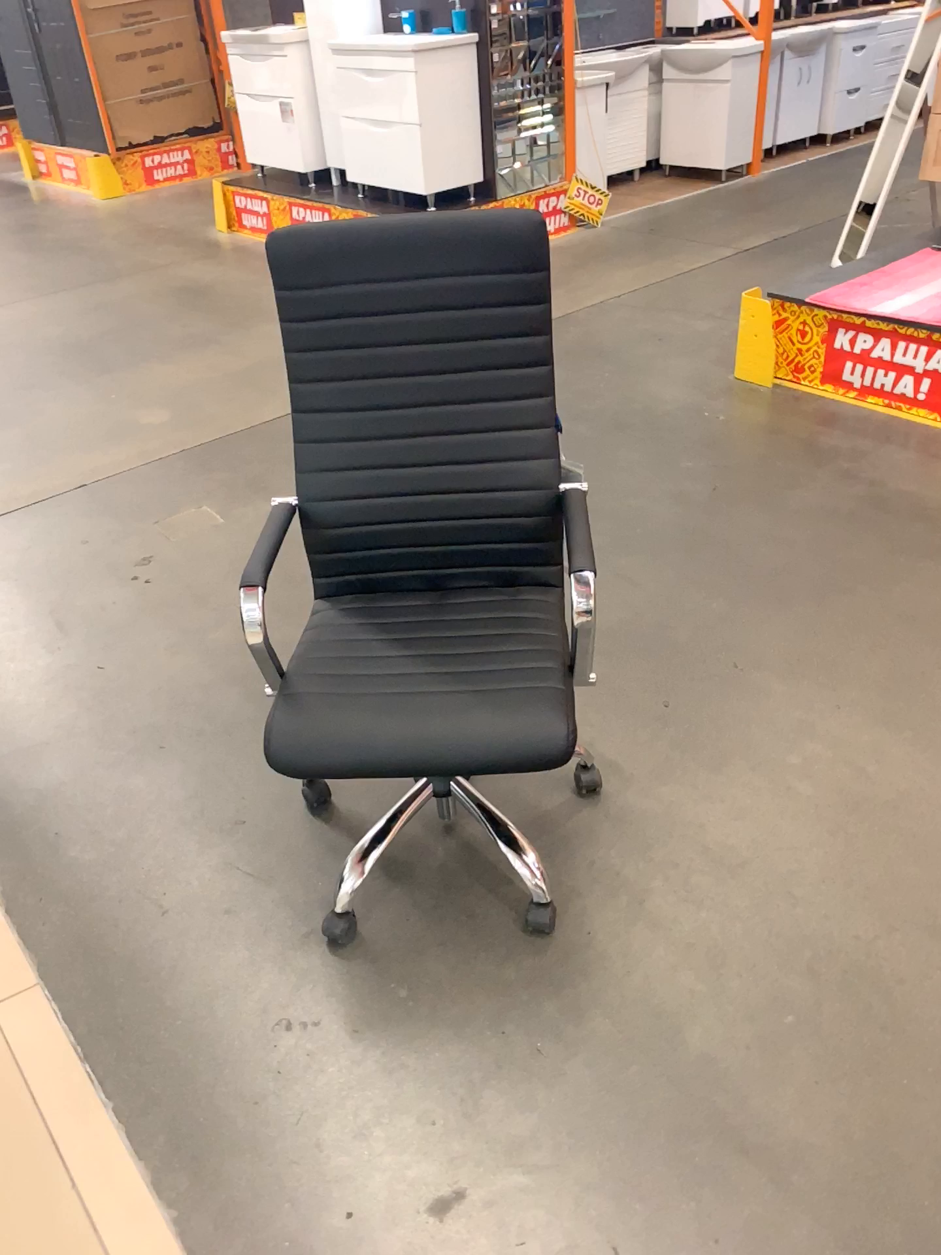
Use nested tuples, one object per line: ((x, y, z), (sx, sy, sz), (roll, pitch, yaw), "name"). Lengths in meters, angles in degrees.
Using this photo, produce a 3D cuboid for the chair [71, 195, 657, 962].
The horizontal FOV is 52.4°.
((-0.069, -0.065, 1.629), (0.650, 1.075, 0.683), (-2, 34, 4), "chair")
